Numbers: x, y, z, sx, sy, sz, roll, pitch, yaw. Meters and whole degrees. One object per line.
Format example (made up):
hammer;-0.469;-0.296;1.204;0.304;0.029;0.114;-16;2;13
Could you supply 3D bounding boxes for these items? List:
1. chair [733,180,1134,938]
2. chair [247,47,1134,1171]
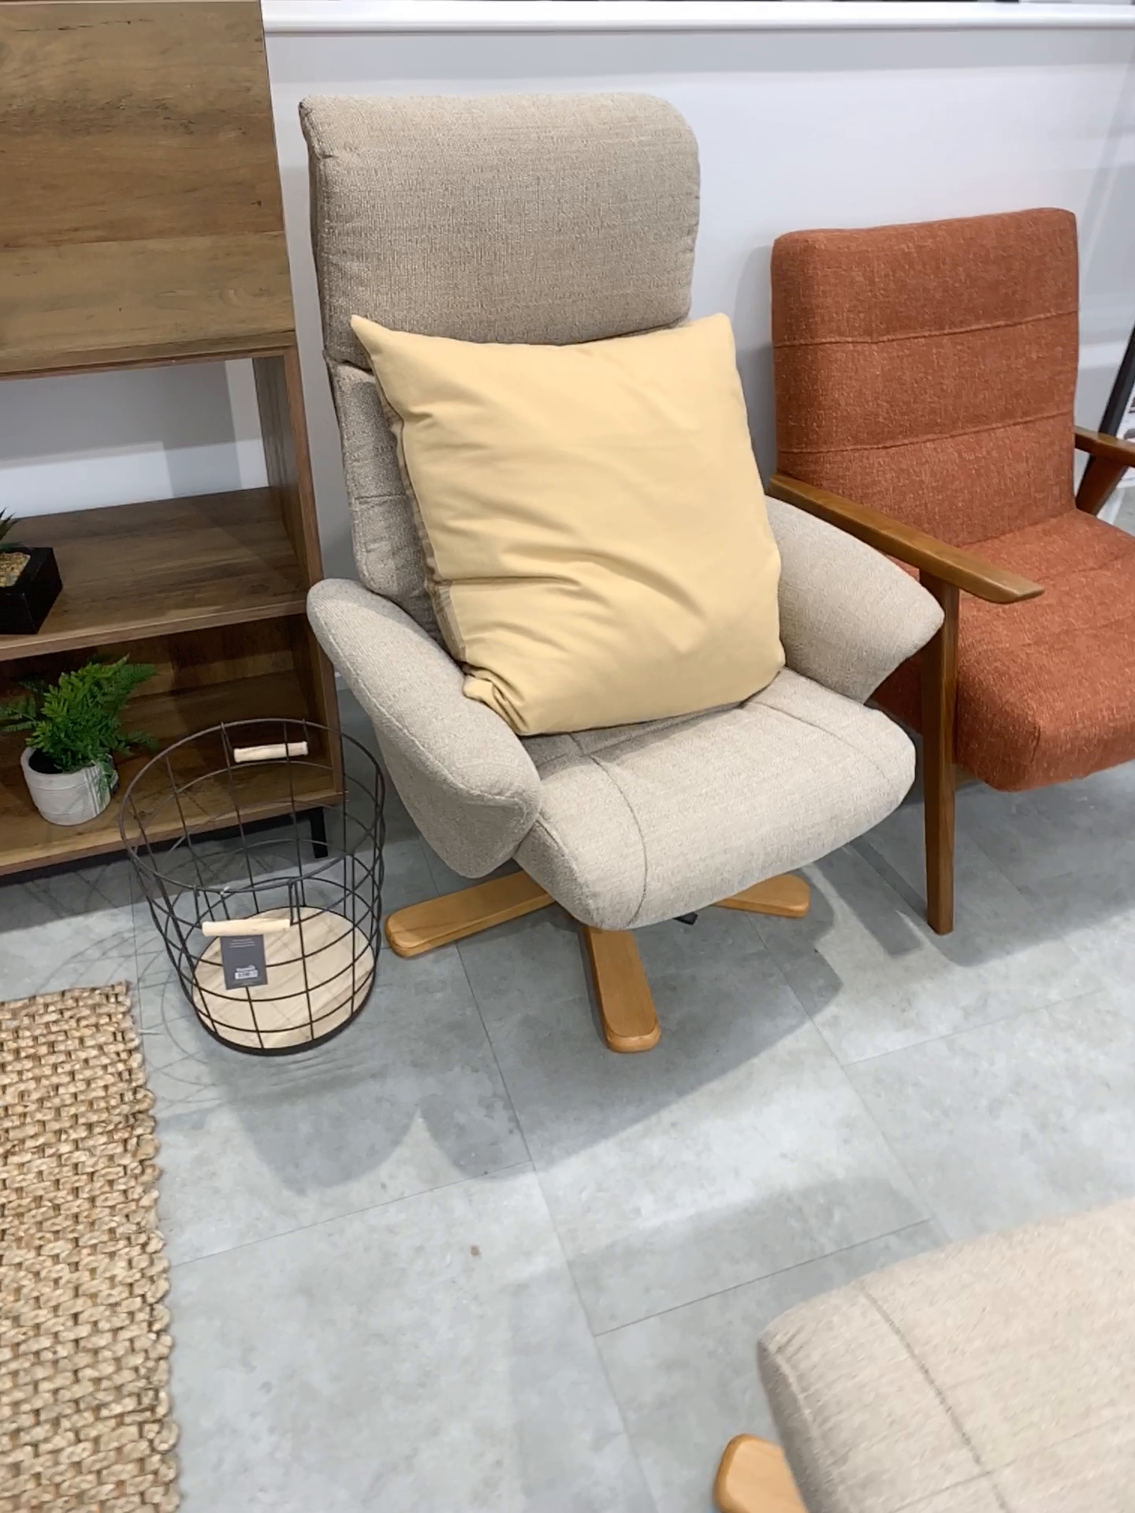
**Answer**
chair;0.685;-0.336;1.791;0.551;0.919;0.622;-14;35;-20
chair;0.106;-0.210;1.448;0.763;1.047;0.662;-16;42;-30
